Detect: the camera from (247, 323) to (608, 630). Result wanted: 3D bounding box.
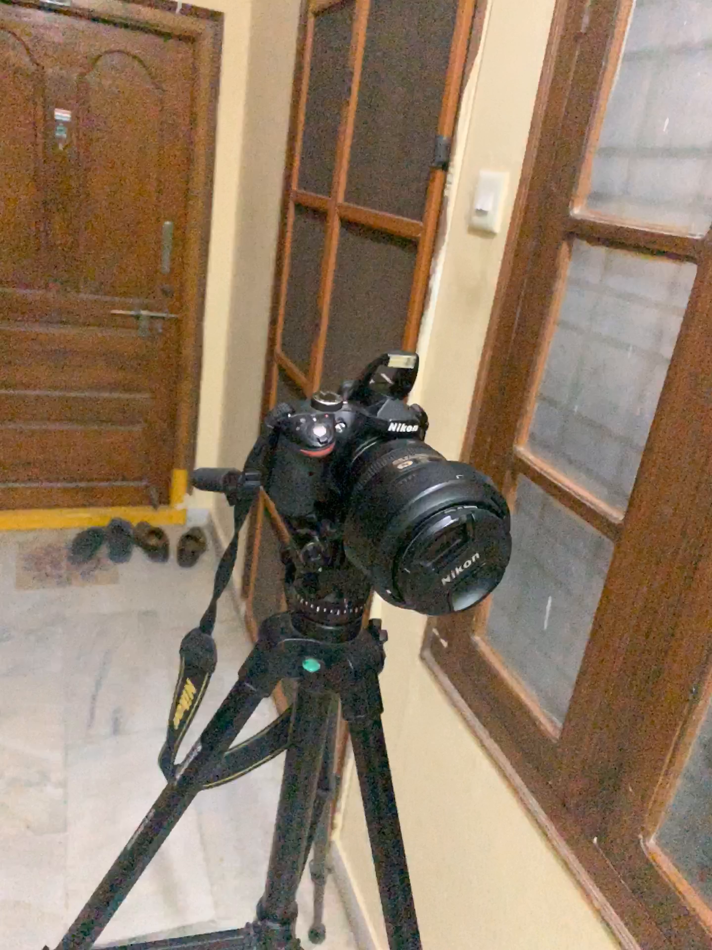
[{"bbox_3d":[0.031,-0.014,0.505,0.150,0.129,0.201,-2,24,-25],"label":"camera"}]
